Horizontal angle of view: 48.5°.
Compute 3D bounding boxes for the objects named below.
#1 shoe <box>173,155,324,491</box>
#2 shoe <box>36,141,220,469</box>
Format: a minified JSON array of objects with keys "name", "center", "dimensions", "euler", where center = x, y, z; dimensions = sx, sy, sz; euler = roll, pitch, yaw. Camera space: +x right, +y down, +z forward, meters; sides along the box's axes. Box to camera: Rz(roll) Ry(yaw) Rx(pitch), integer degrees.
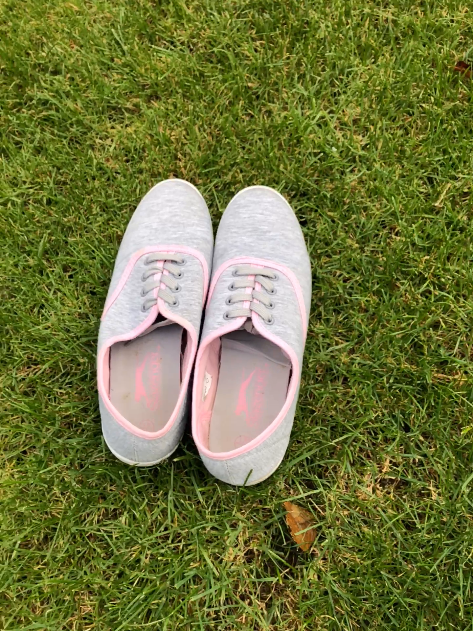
[{"name":"shoe","center":[0.019,0.005,0.437],"dimensions":[0.100,0.090,0.261],"euler":[1,72,7]},{"name":"shoe","center":[-0.079,-0.009,0.447],"dimensions":[0.100,0.090,0.261],"euler":[1,72,7]}]
